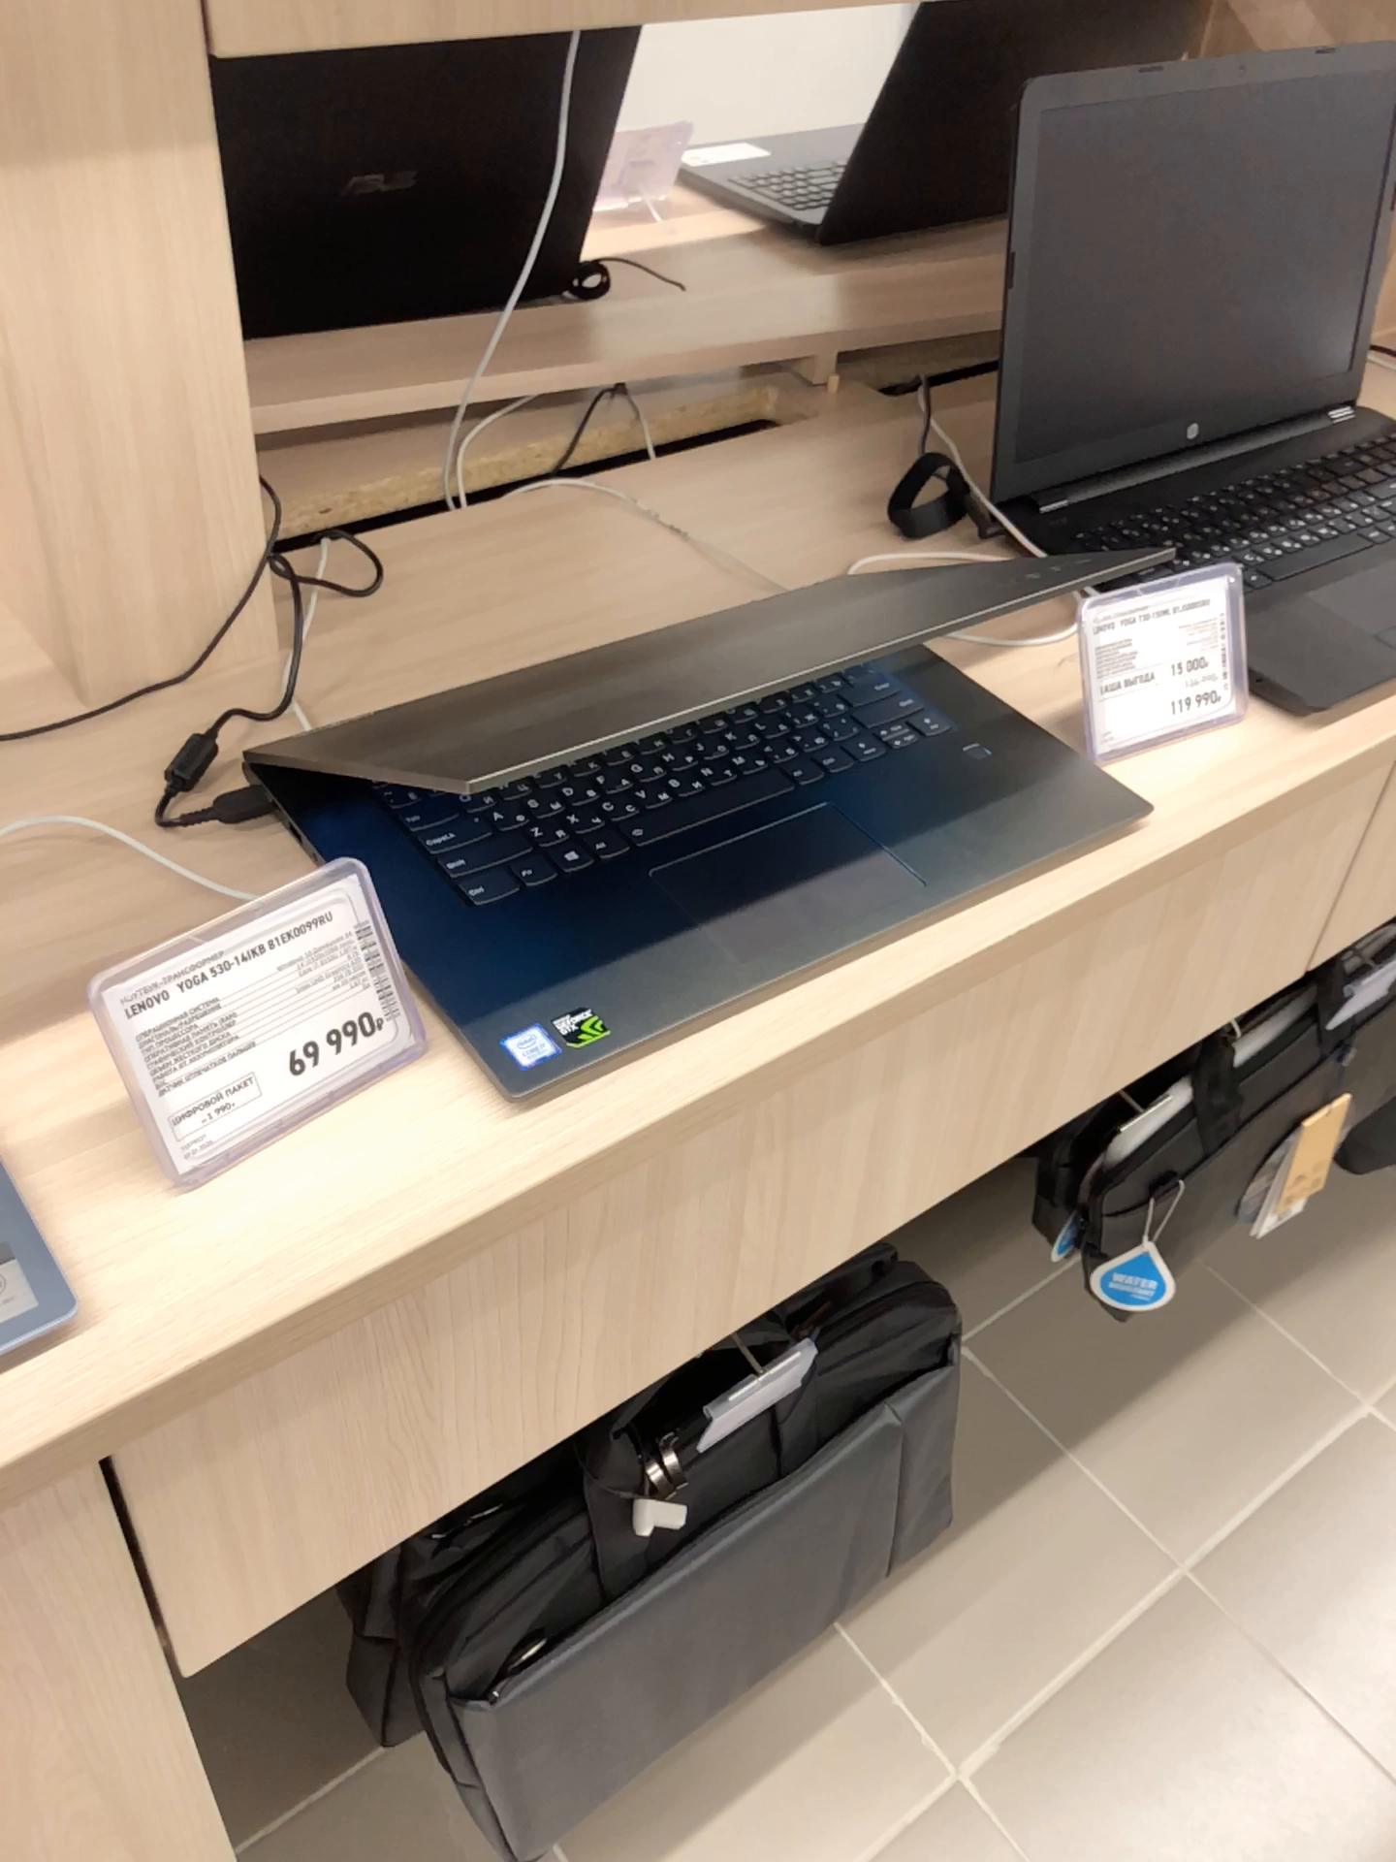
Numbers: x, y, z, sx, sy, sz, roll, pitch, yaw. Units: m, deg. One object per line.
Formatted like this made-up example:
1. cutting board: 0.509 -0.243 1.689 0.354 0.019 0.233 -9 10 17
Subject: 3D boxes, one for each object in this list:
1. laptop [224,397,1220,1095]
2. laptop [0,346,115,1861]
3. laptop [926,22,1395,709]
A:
1. laptop: 0.012 -0.113 0.707 0.363 0.118 0.243 -22 49 -30
2. laptop: -0.440 0.011 0.442 0.355 0.201 0.343 -24 48 -31
3. laptop: 0.416 -0.374 0.955 0.403 0.240 0.304 -25 51 -30
